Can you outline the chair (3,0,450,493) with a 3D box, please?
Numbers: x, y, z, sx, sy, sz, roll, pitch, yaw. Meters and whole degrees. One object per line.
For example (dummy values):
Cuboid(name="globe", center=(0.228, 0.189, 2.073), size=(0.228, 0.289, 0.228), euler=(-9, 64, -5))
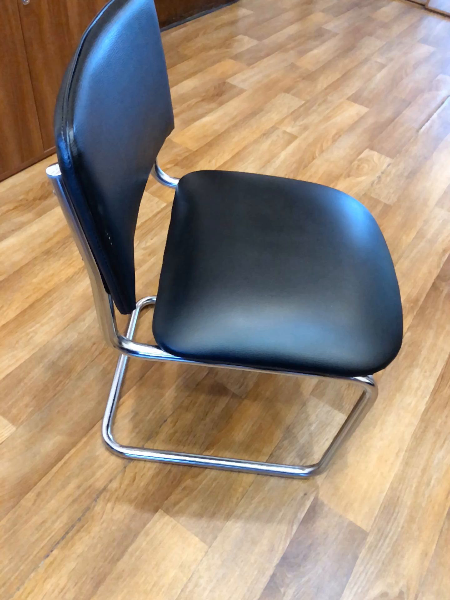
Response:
Cuboid(name="chair", center=(0.034, -0.058, 0.899), size=(0.524, 0.745, 0.494), euler=(7, 48, -2))
